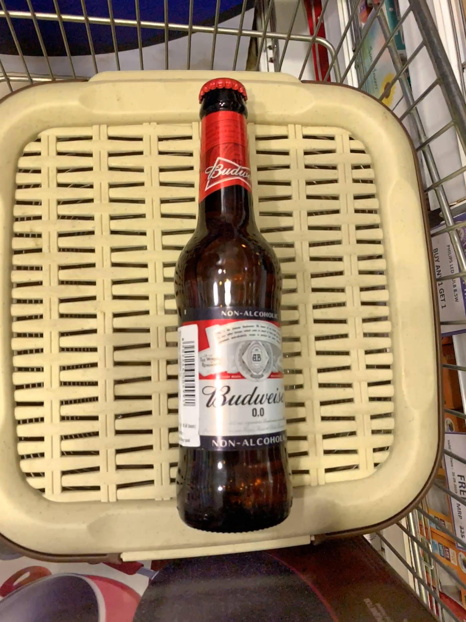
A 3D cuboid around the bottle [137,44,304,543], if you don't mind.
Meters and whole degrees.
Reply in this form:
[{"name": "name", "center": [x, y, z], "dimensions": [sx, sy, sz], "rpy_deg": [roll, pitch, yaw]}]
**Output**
[{"name": "bottle", "center": [-0.011, -0.010, 0.249], "dimensions": [0.060, 0.060, 0.220], "rpy_deg": [0, 84, -24]}]
